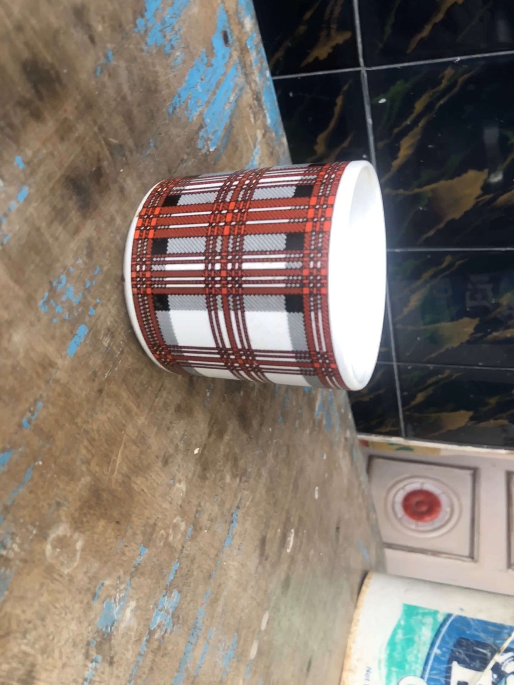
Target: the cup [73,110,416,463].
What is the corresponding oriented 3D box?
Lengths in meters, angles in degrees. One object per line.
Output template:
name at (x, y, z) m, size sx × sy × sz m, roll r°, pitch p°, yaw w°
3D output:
cup at (0.009, -0.011, 0.202) m, size 0.111 × 0.079 × 0.060 m, roll 64°, pitch 35°, yaw -53°
